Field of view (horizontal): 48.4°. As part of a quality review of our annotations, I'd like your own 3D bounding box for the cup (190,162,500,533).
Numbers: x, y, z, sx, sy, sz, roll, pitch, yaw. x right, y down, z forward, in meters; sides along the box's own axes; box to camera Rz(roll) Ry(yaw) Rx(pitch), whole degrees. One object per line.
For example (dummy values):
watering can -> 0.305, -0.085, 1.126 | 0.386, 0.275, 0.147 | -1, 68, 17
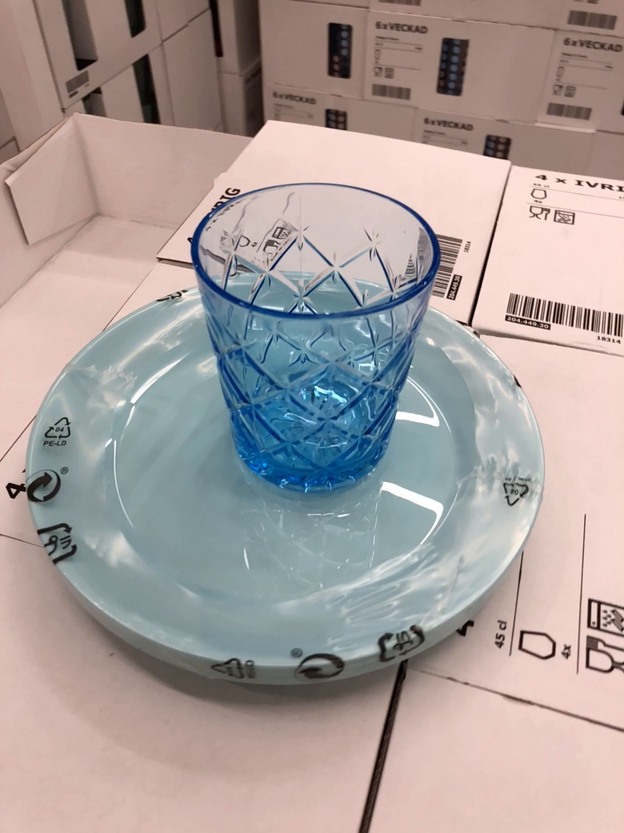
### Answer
cup -> 0.005, -0.026, 0.266 | 0.090, 0.100, 0.090 | 0, 46, 0
